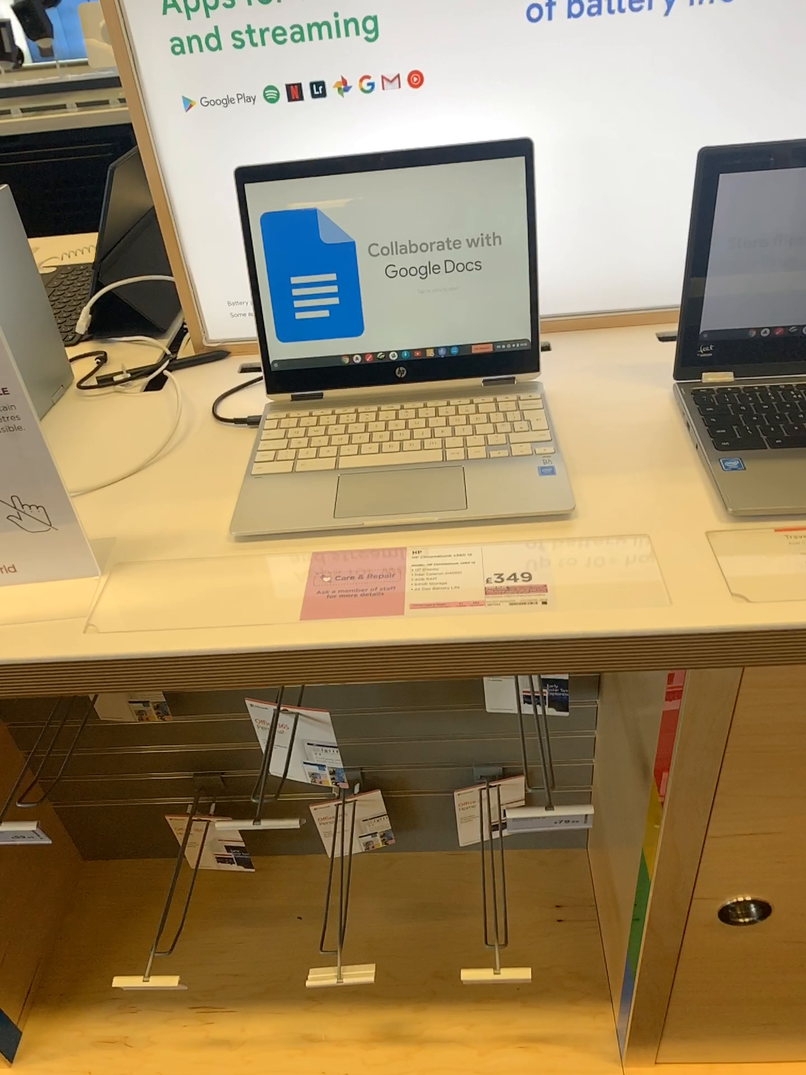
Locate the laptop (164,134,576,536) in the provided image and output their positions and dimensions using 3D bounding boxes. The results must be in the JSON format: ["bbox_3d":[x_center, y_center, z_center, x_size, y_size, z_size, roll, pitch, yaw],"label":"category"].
[{"bbox_3d":[-0.014,-0.173,0.673,0.257,0.190,0.271,-4,39,4],"label":"laptop"}]
